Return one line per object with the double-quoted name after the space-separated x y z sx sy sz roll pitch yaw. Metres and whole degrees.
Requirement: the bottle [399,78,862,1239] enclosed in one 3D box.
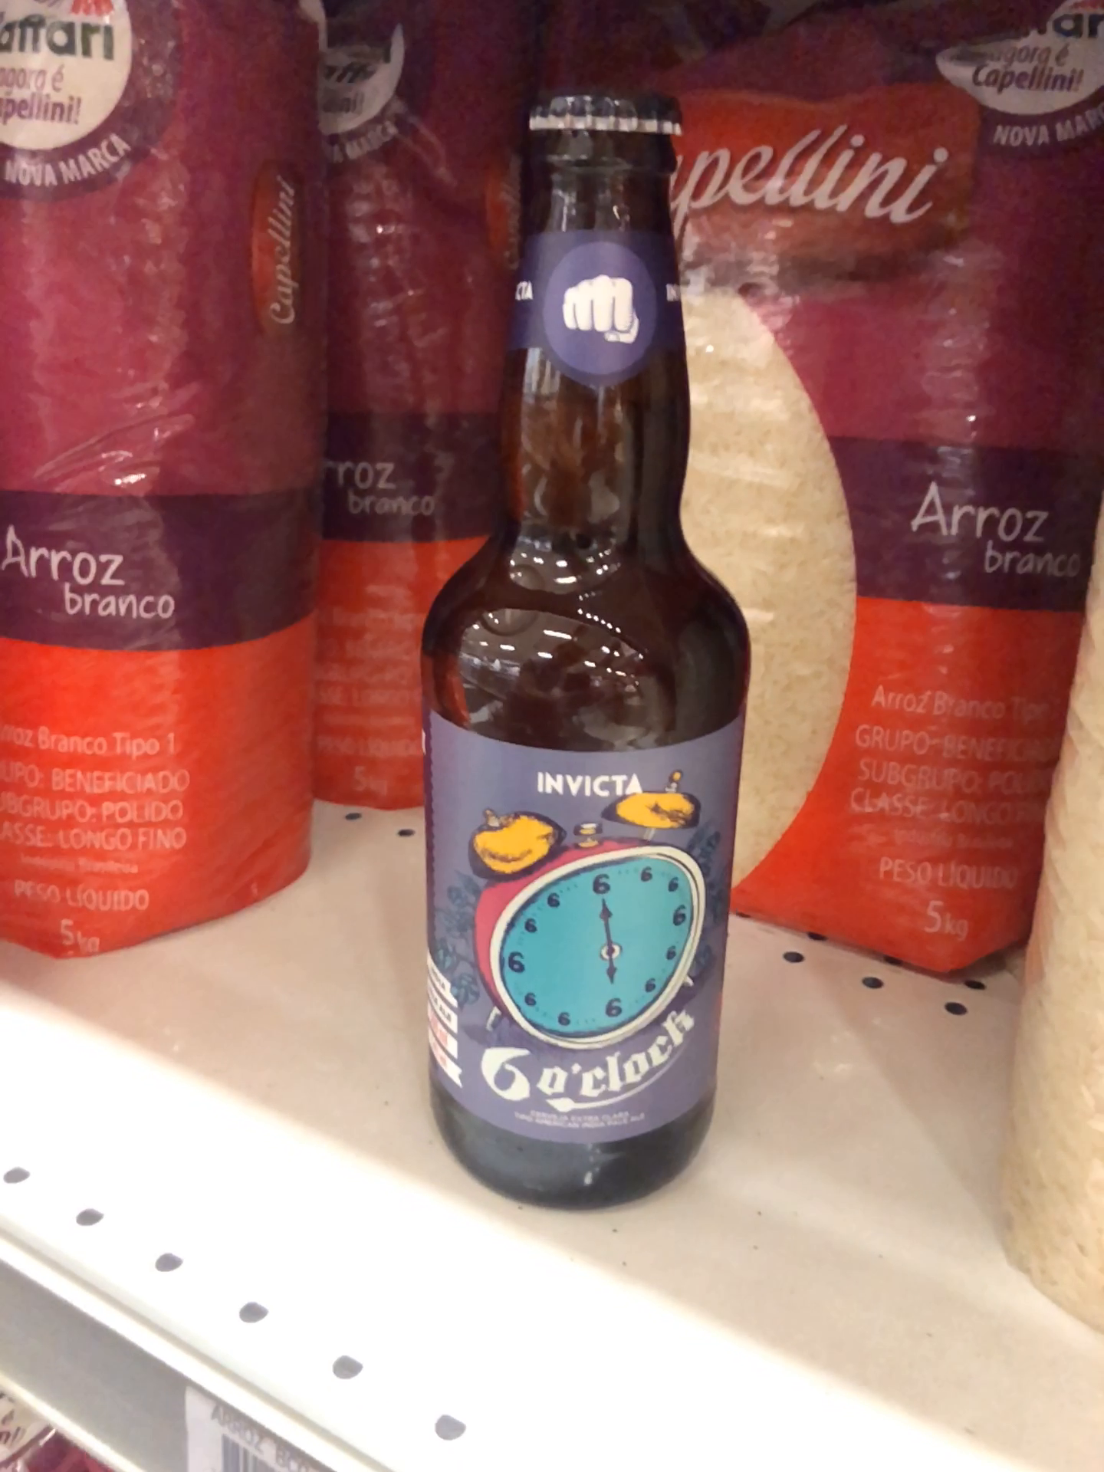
0.008 -0.007 0.262 0.070 0.228 0.071 1 23 -1 "bottle"
